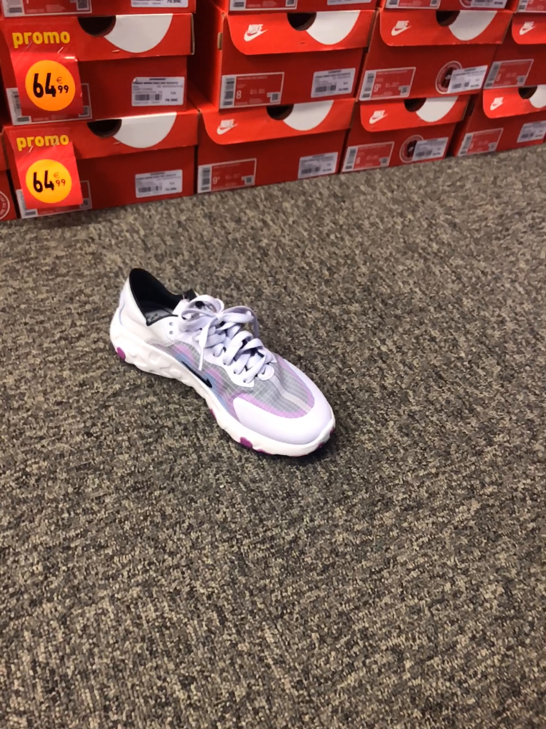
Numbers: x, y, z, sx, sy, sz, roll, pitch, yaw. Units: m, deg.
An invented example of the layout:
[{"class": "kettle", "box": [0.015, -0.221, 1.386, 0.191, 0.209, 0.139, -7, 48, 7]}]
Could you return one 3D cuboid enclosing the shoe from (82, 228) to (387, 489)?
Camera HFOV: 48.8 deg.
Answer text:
[{"class": "shoe", "box": [-0.042, -0.014, 0.564, 0.260, 0.099, 0.101, 30, 49, 19]}]
